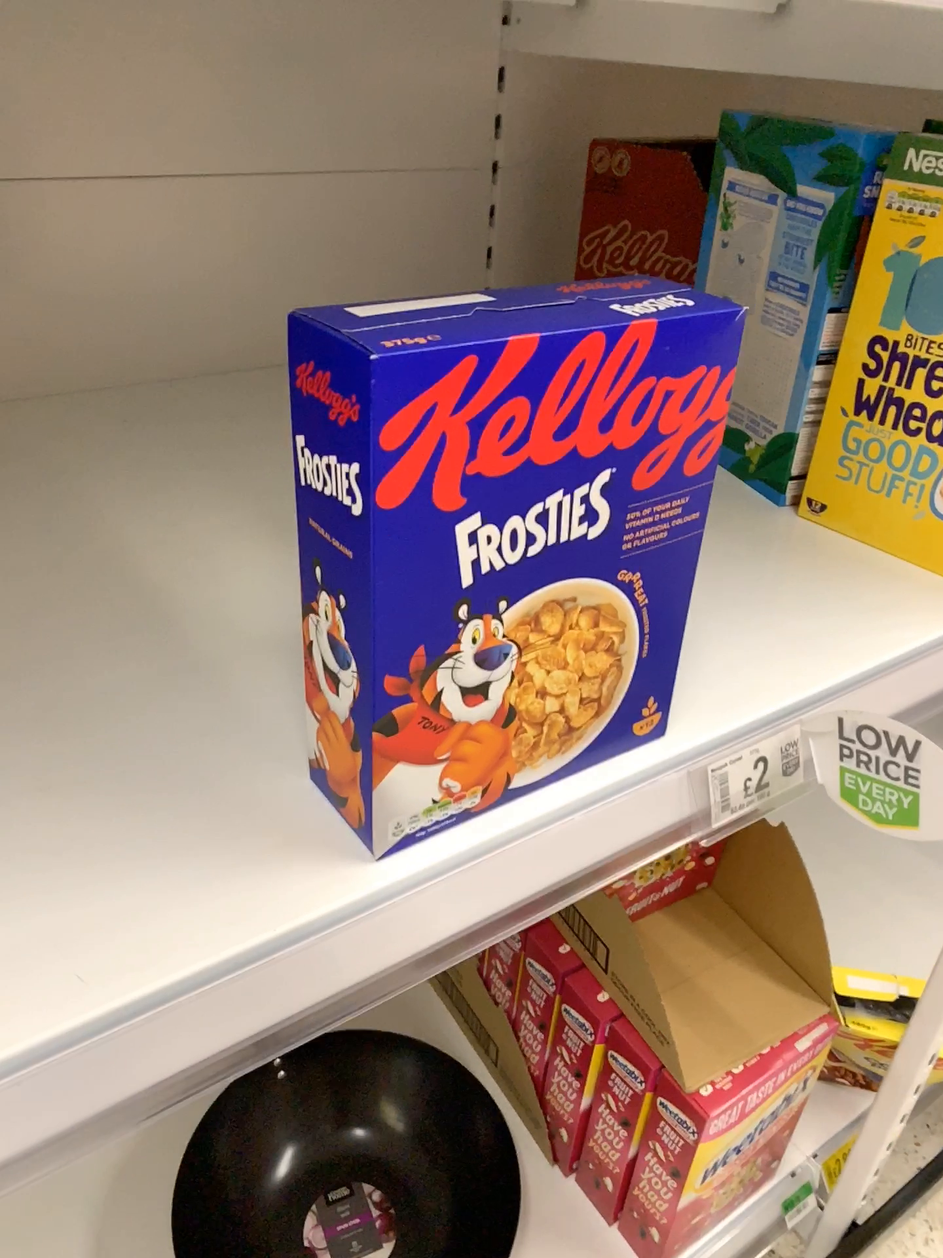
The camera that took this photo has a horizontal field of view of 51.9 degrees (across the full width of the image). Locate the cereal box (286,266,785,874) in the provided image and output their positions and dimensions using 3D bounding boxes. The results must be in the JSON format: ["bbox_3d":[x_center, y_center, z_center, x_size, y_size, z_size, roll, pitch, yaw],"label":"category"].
[{"bbox_3d":[0.025,-0.034,0.462,0.201,0.238,0.080,-17,37,-31],"label":"cereal box"}]
